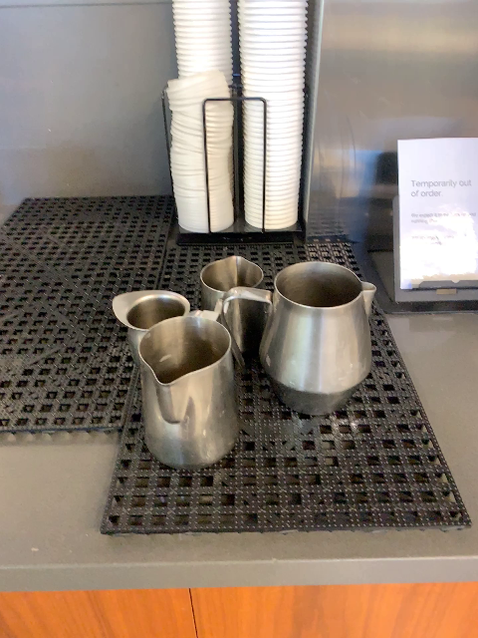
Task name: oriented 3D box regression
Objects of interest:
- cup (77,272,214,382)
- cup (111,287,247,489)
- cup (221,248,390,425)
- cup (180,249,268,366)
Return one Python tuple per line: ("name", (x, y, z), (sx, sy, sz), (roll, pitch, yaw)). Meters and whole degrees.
("cup", (-0.090, 0.006, 0.499), (0.110, 0.070, 0.070), (8, 36, 13))
("cup", (-0.043, 0.057, 0.433), (0.080, 0.119, 0.121), (5, 36, 8))
("cup", (0.066, 0.014, 0.480), (0.140, 0.119, 0.101), (7, 36, 12))
("cup", (-0.011, -0.016, 0.527), (0.070, 0.070, 0.111), (5, 36, 9))
